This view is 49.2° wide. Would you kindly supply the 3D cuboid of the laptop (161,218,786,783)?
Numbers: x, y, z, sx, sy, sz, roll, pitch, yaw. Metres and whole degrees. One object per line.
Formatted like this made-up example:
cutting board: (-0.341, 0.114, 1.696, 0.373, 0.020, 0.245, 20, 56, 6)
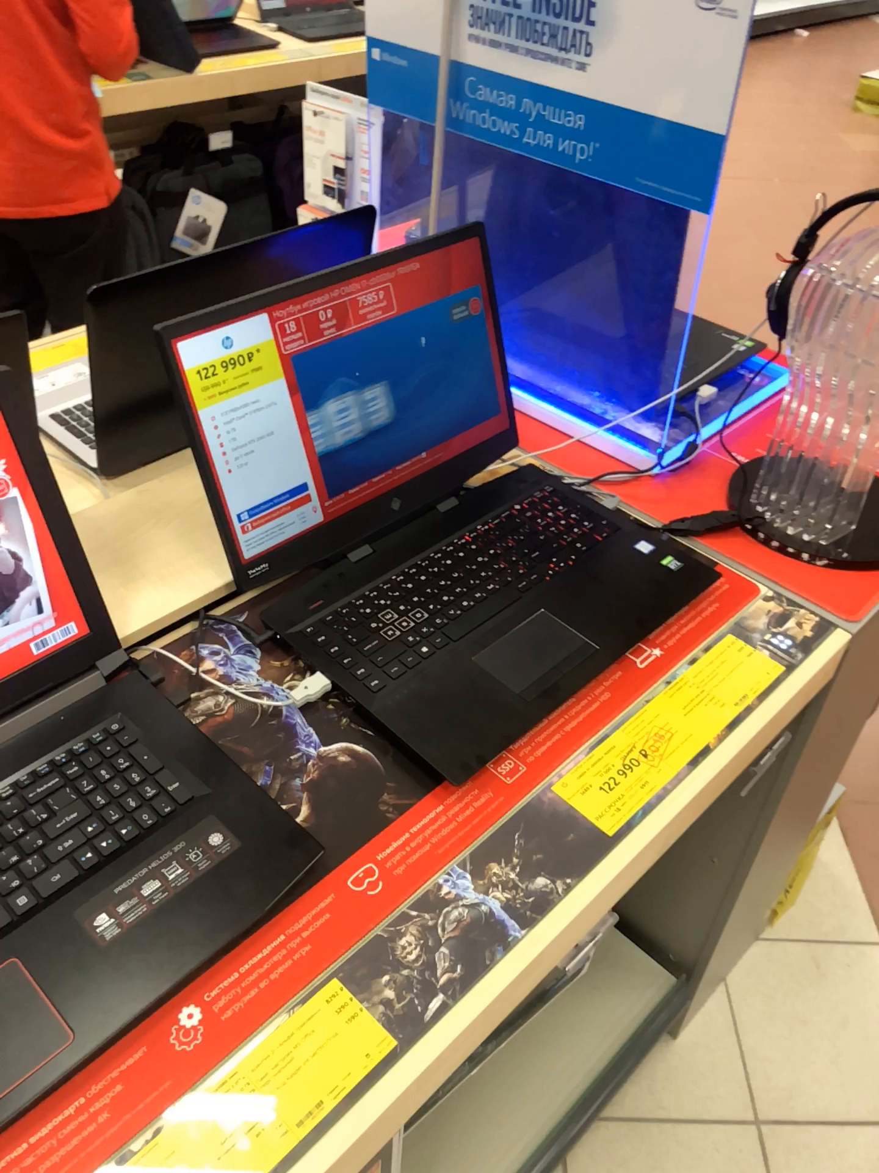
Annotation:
laptop: (0.028, -0.117, 0.908, 0.392, 0.246, 0.376, -32, 53, -34)
